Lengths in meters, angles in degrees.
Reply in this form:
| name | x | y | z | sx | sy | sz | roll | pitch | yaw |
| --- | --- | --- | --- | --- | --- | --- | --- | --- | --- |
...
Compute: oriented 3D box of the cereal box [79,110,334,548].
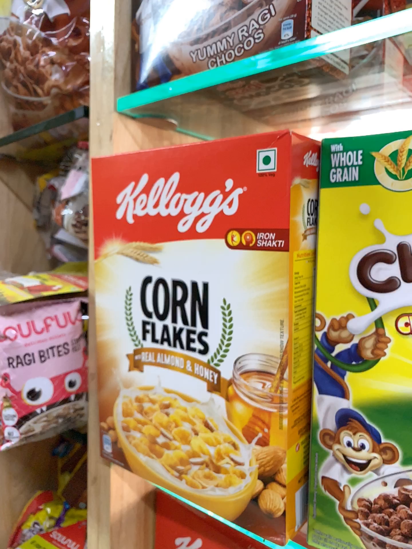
| name | x | y | z | sx | sy | sz | roll | pitch | yaw |
| --- | --- | --- | --- | --- | --- | --- | --- | --- | --- |
| cereal box | -0.007 | 0.026 | 0.313 | 0.170 | 0.239 | 0.070 | 5 | 8 | 39 |
